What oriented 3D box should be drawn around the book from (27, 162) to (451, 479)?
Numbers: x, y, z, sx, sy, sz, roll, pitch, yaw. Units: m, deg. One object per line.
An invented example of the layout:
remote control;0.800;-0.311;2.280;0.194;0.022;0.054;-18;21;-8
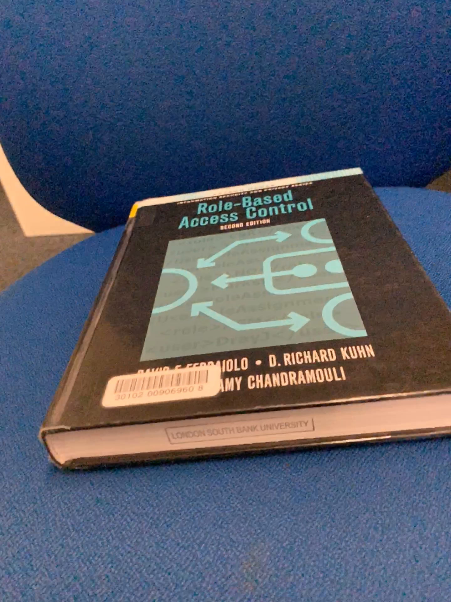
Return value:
book;0.018;-0.016;0.285;0.189;0.030;0.242;-7;35;6
